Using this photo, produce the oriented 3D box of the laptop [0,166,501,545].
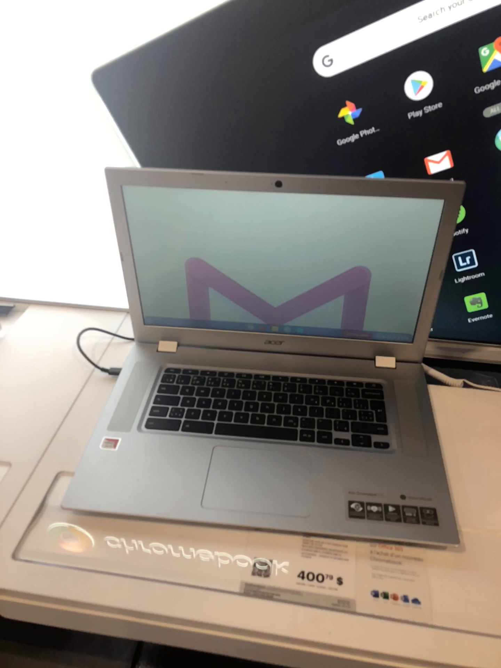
[{"bbox_3d":[0.016,0.005,0.549,0.377,0.249,0.265,4,37,5],"label":"laptop"}]
